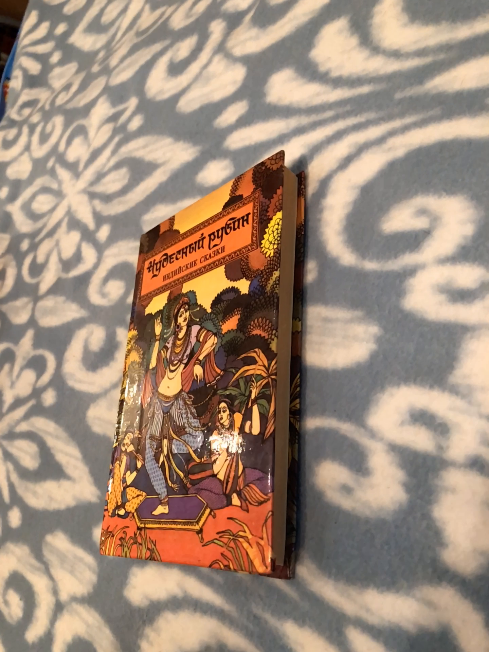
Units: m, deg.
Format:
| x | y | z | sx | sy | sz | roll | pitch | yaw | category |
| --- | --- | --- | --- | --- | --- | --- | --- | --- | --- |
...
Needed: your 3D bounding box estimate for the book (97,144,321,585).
| x | y | z | sx | sy | sz | roll | pitch | yaw | category |
| --- | --- | --- | --- | --- | --- | --- | --- | --- | --- |
| -0.022 | 0.022 | 0.306 | 0.140 | 0.027 | 0.210 | -18 | 61 | 43 | book |
